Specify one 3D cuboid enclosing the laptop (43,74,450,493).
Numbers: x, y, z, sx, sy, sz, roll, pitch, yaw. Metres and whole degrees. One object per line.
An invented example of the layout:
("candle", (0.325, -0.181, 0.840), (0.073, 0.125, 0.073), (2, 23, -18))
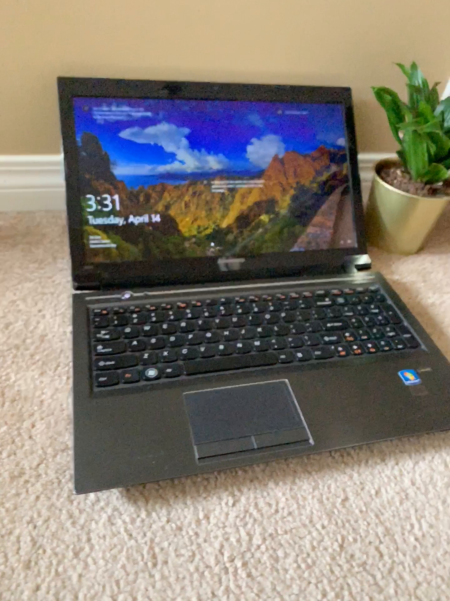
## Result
("laptop", (0.027, -0.070, 0.483), (0.372, 0.167, 0.412), (-5, 43, -15))
